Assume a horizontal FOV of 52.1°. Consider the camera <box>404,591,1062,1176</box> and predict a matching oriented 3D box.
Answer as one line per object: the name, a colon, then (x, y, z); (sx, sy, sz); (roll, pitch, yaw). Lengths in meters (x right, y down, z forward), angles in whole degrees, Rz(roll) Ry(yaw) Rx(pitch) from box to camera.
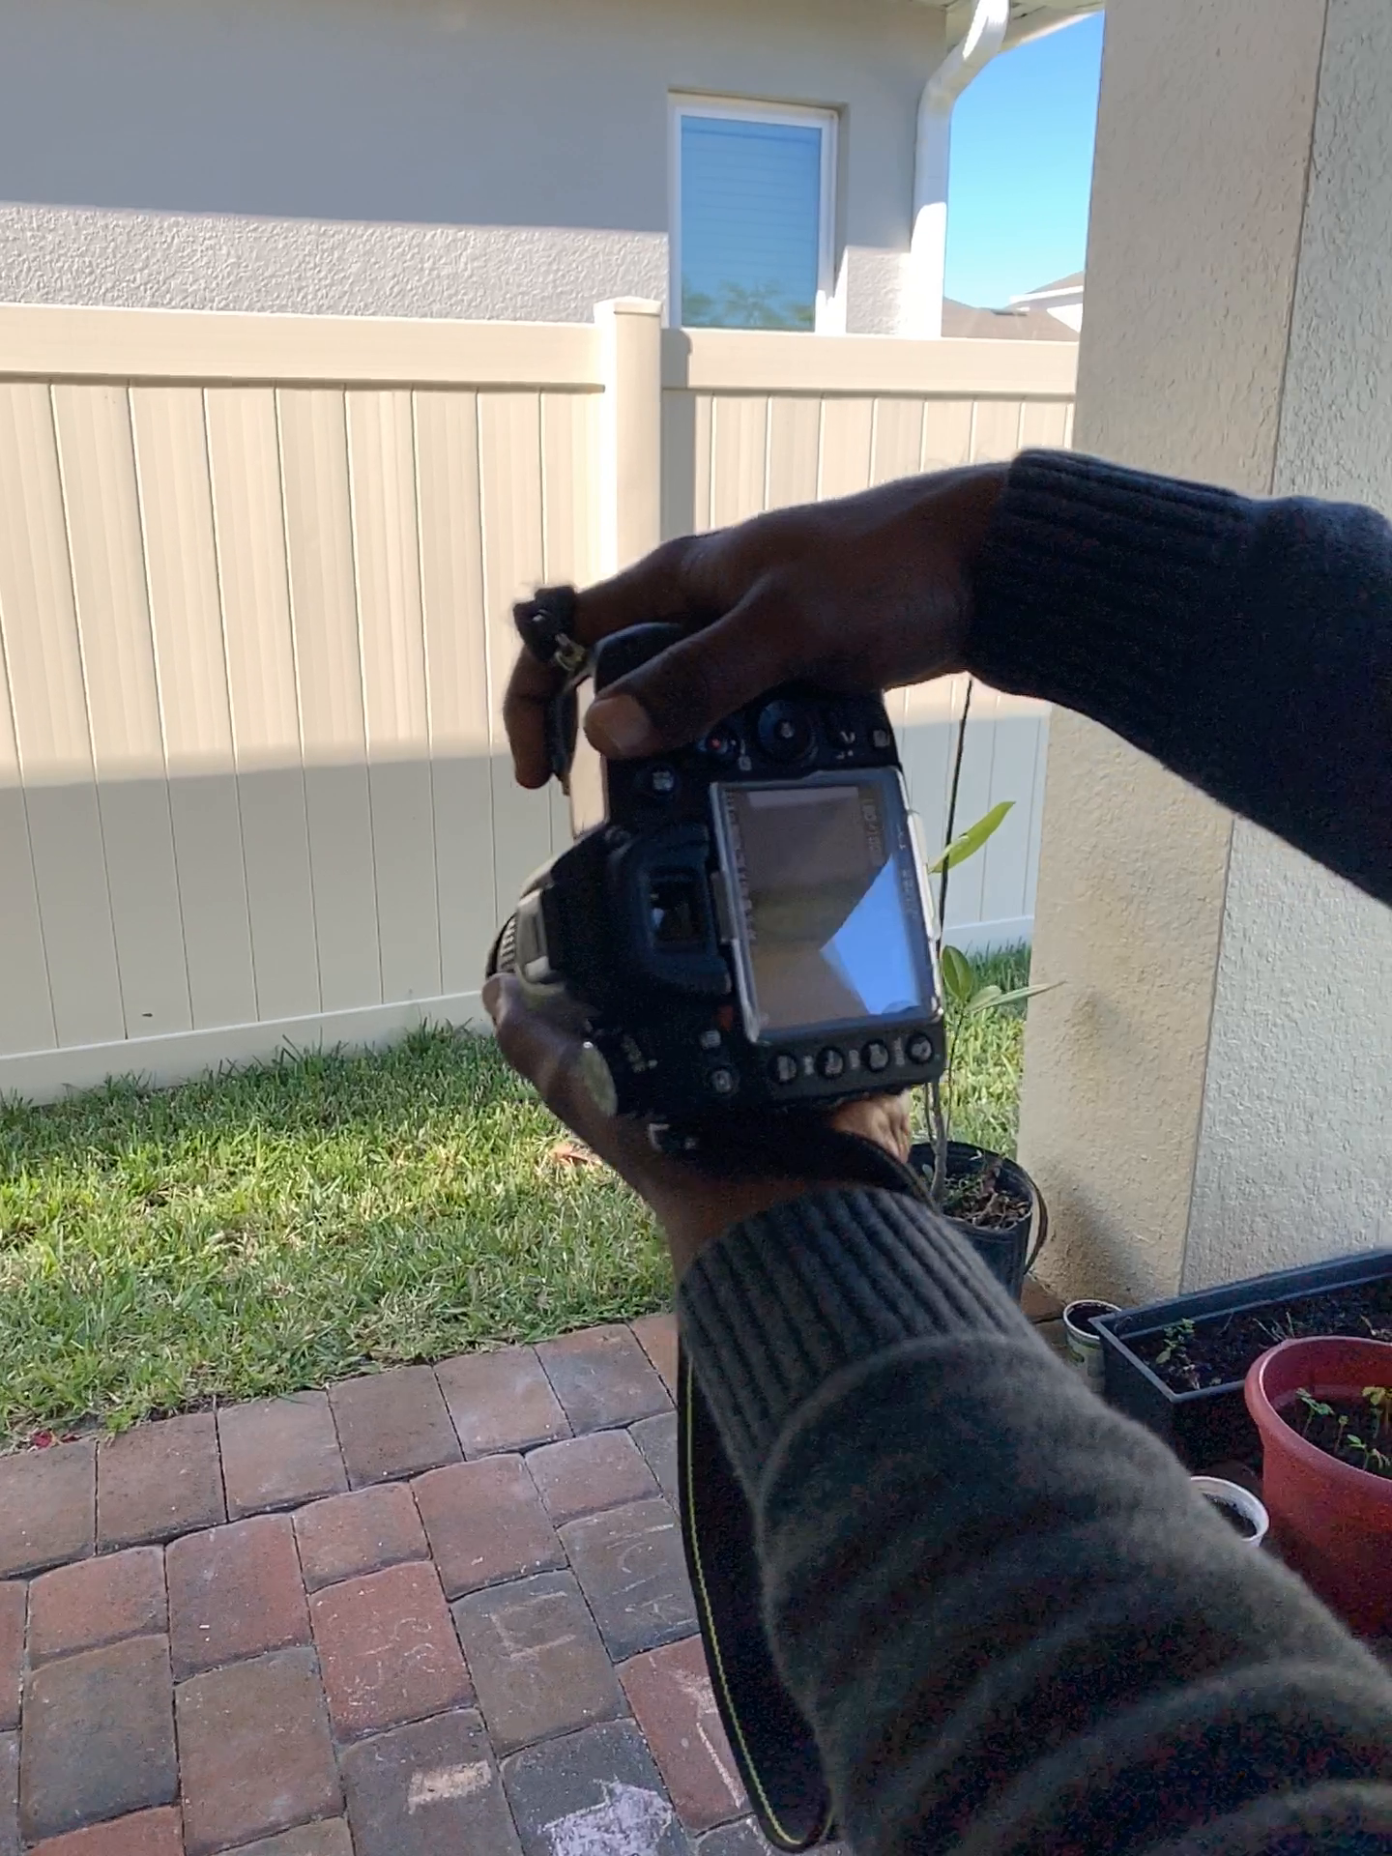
camera: (-0.005, -0.006, 0.366); (0.090, 0.110, 0.170); (-8, -2, -24)
